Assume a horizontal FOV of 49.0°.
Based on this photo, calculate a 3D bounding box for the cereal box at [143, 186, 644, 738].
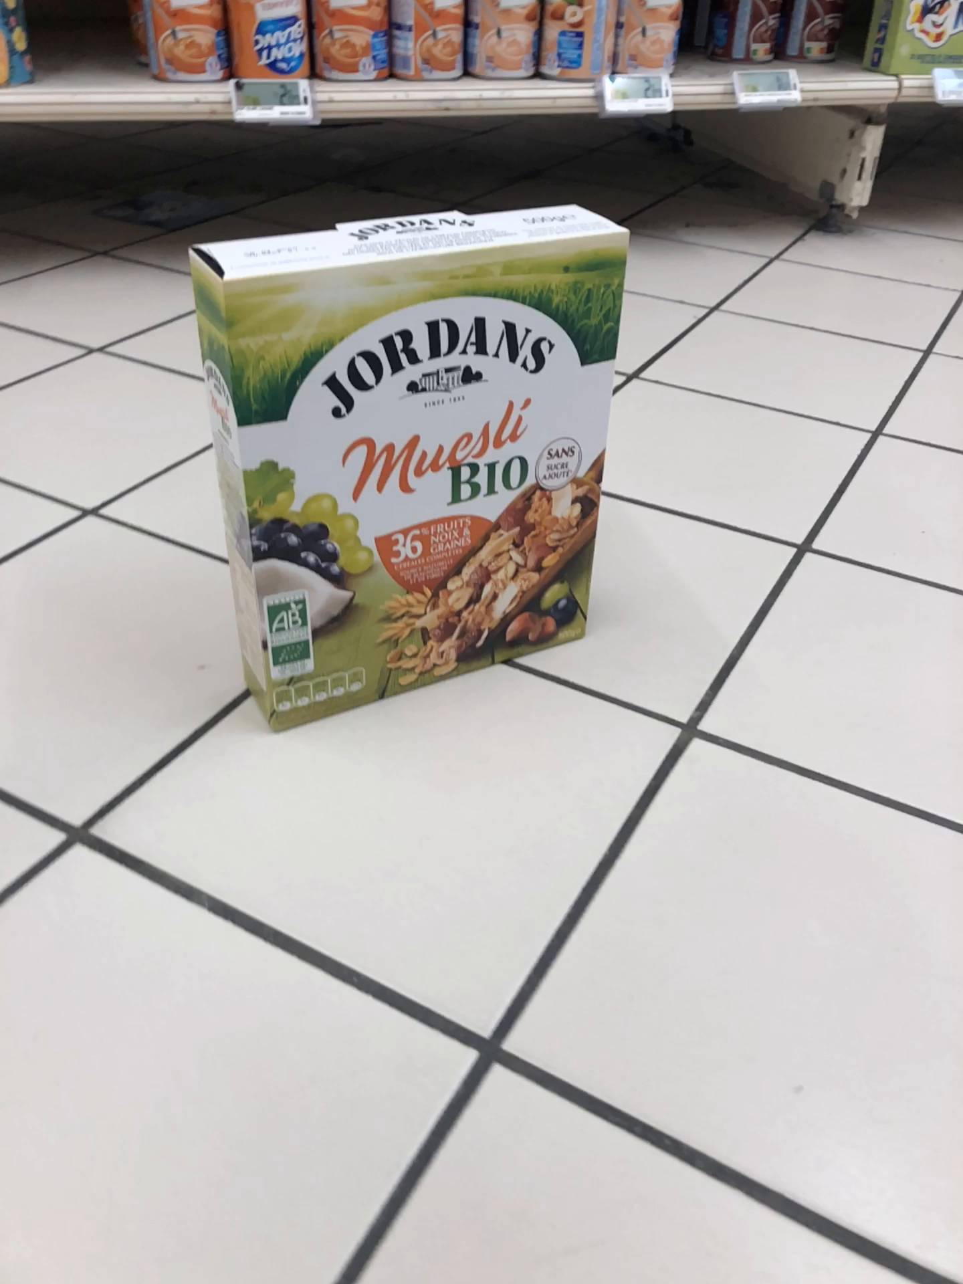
[{"bbox_3d":[-0.034,-0.082,0.478,0.191,0.209,0.060,-16,39,-24],"label":"cereal box"}]
